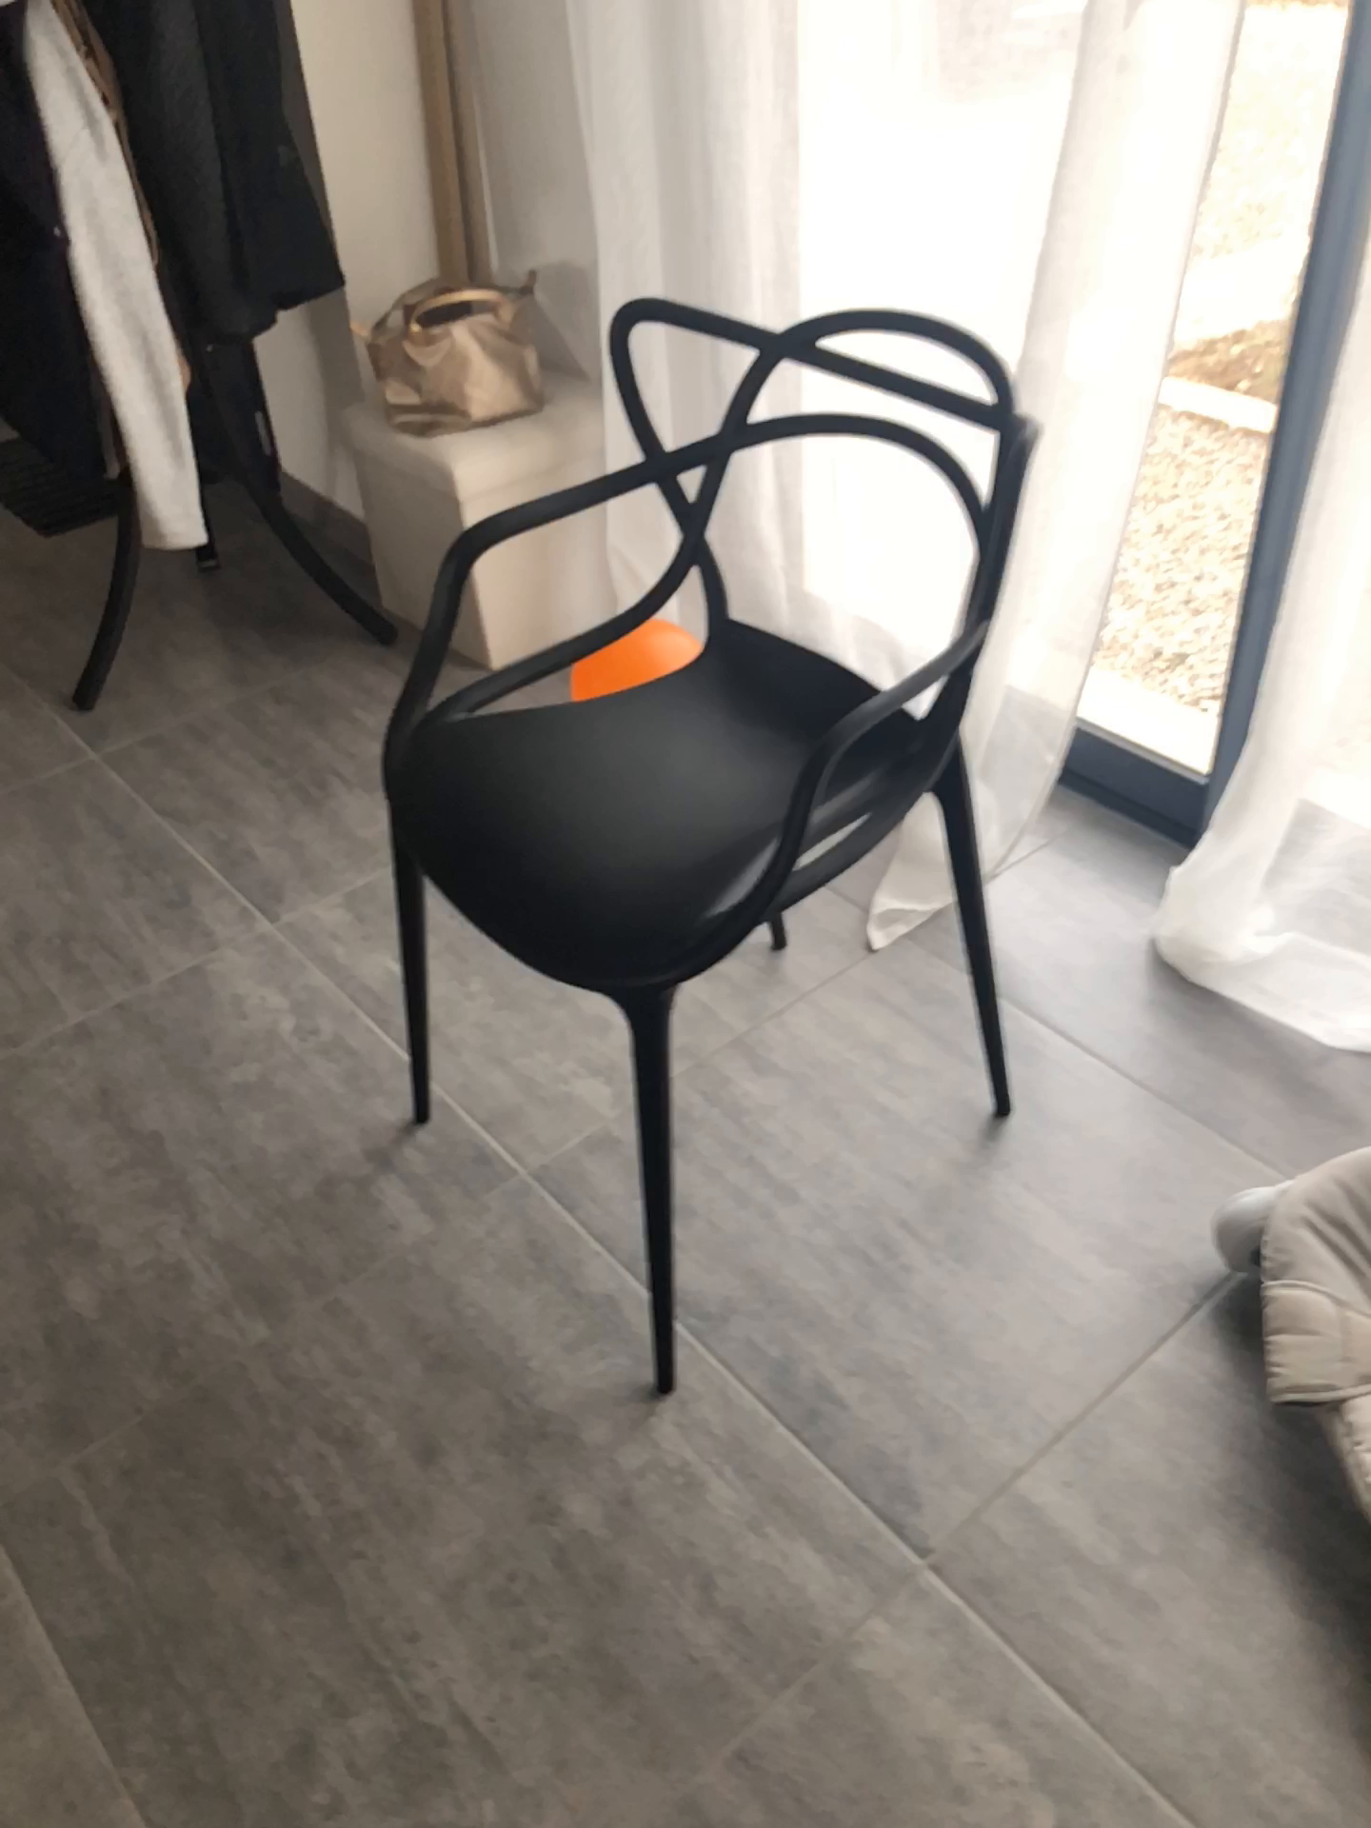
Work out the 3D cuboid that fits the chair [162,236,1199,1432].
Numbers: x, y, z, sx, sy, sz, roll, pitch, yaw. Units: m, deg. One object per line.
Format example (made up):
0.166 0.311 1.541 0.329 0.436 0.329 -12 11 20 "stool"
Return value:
0.001 -0.104 1.410 0.588 0.795 0.564 -27 43 -27 "chair"
